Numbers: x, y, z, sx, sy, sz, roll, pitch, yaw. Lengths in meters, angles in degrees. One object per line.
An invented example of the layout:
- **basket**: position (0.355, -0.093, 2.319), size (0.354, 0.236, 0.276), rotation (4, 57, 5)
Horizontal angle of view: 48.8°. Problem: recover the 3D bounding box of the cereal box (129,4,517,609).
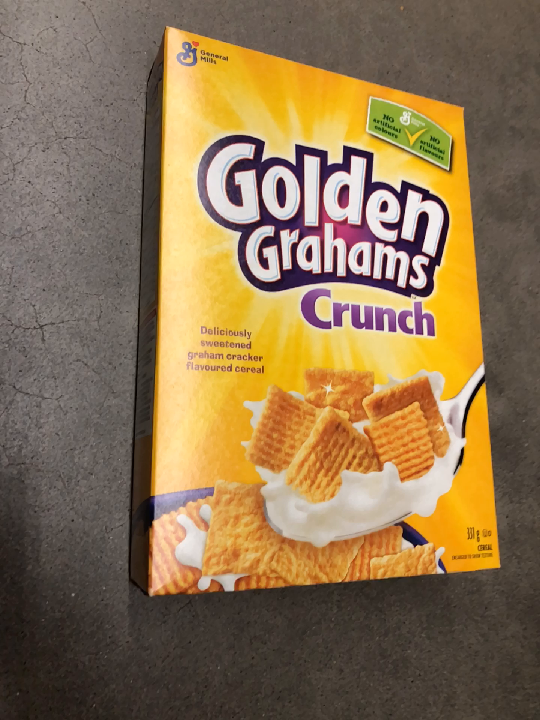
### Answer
- **cereal box**: position (0.030, -0.028, 0.352), size (0.200, 0.070, 0.300), rotation (4, 79, -20)
